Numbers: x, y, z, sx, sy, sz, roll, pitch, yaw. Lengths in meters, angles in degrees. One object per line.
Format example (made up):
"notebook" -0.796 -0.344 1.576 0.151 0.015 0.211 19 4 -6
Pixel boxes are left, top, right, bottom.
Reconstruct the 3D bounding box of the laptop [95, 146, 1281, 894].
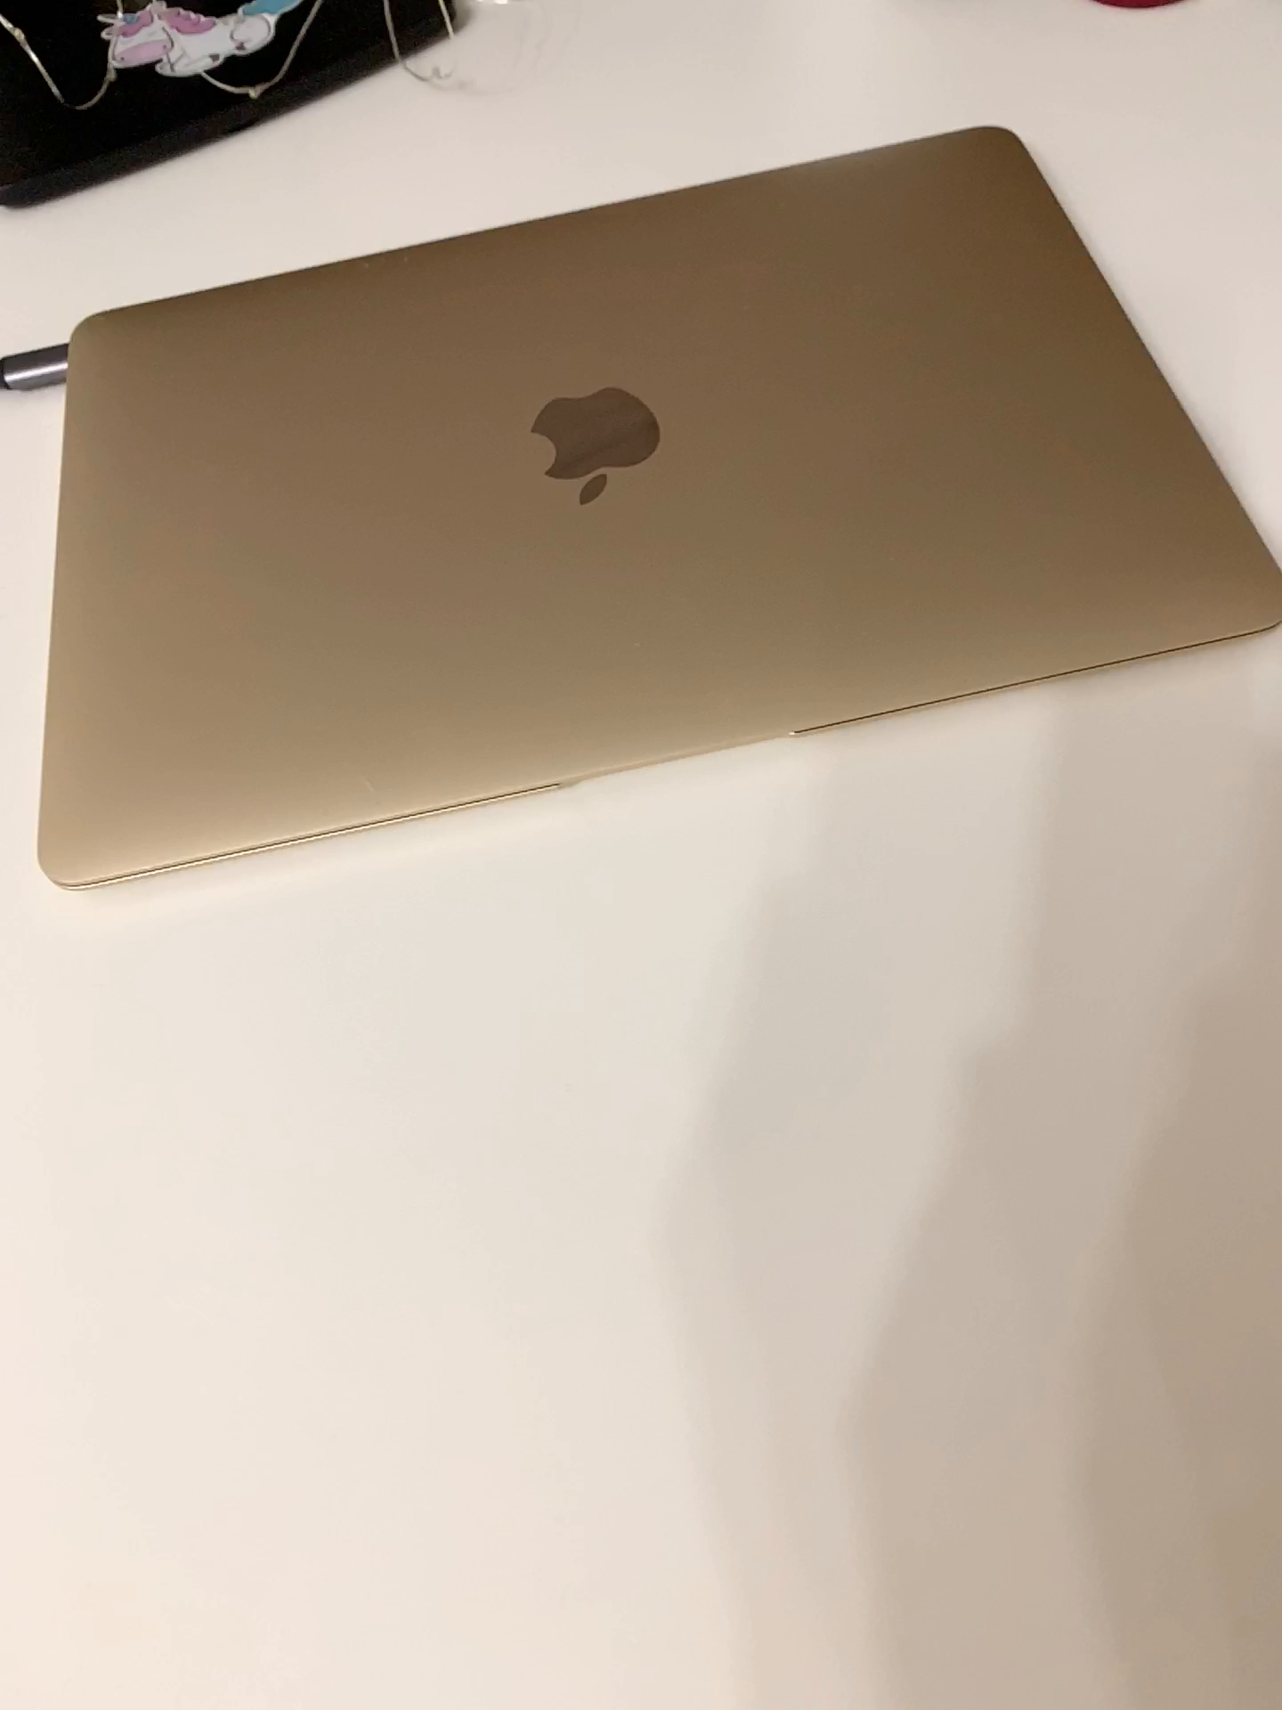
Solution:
"laptop" -0.004 -0.095 0.326 0.255 0.013 0.174 -12 60 -3
